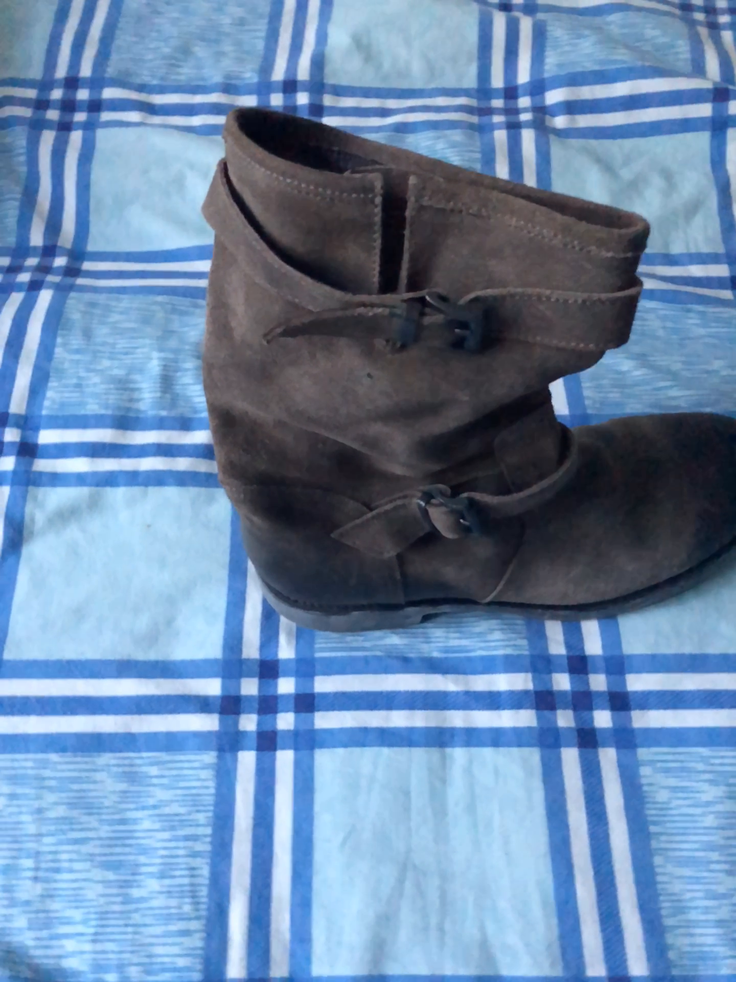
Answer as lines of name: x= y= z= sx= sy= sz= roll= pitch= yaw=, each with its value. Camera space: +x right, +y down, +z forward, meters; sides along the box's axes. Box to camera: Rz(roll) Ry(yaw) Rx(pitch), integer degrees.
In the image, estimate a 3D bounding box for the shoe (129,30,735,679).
shoe: x=0.085 y=-0.029 z=0.396 sx=0.320 sy=0.290 sz=0.130 roll=-7 pitch=64 yaw=-3
